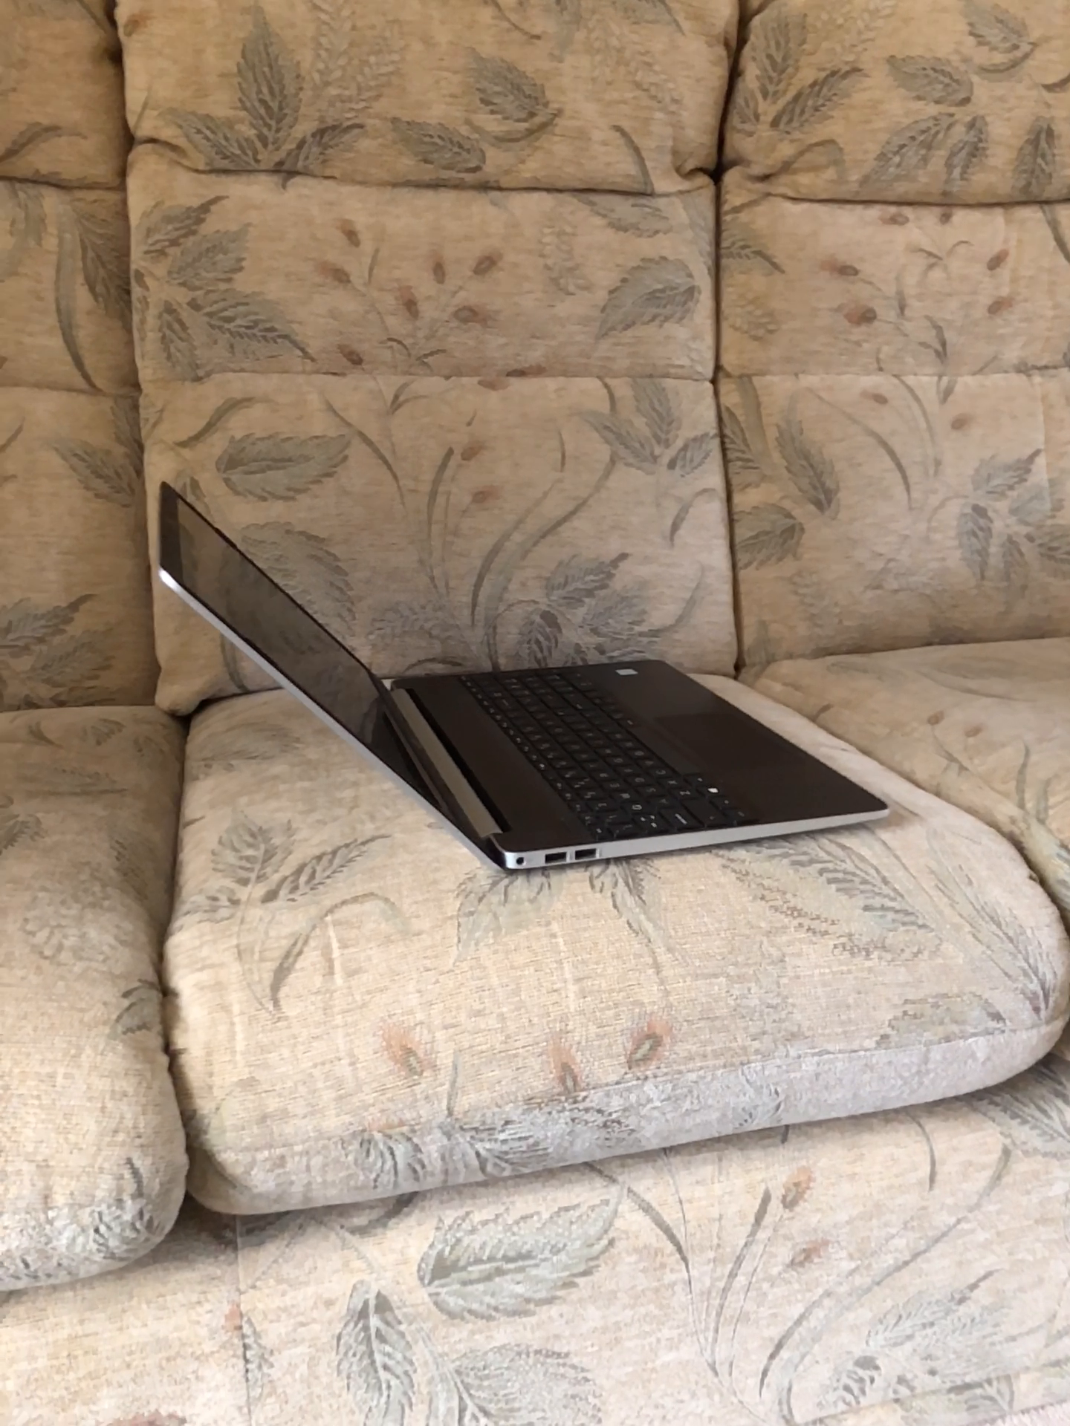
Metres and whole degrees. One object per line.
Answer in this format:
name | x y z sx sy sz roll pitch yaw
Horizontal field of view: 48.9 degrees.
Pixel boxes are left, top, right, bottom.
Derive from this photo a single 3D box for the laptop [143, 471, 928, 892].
laptop | -0.030 -0.053 0.755 0.397 0.163 0.340 -5 20 -17
